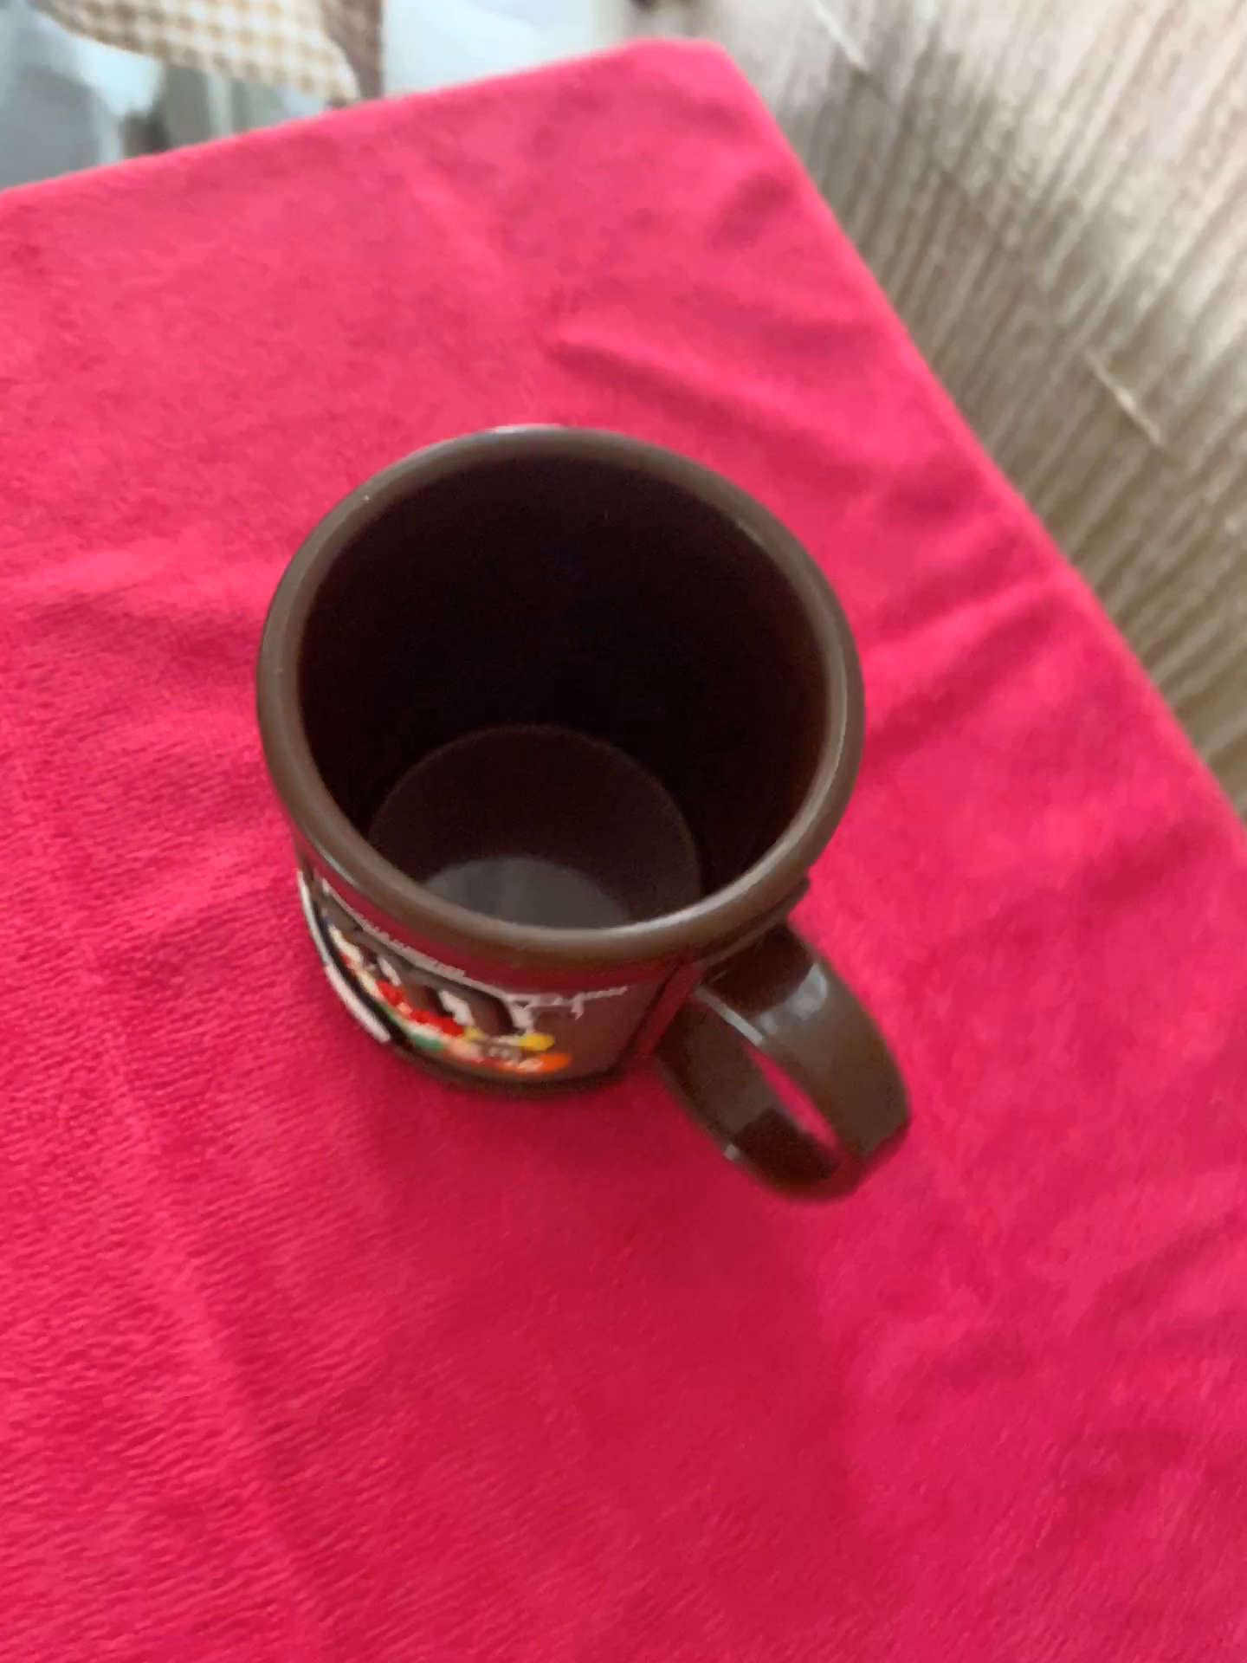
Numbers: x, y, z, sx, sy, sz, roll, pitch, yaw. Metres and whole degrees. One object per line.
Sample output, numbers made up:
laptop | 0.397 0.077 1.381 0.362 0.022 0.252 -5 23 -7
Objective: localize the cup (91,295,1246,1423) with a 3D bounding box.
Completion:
cup | 0.002 0.010 0.208 0.090 0.099 0.120 -38 77 -20
